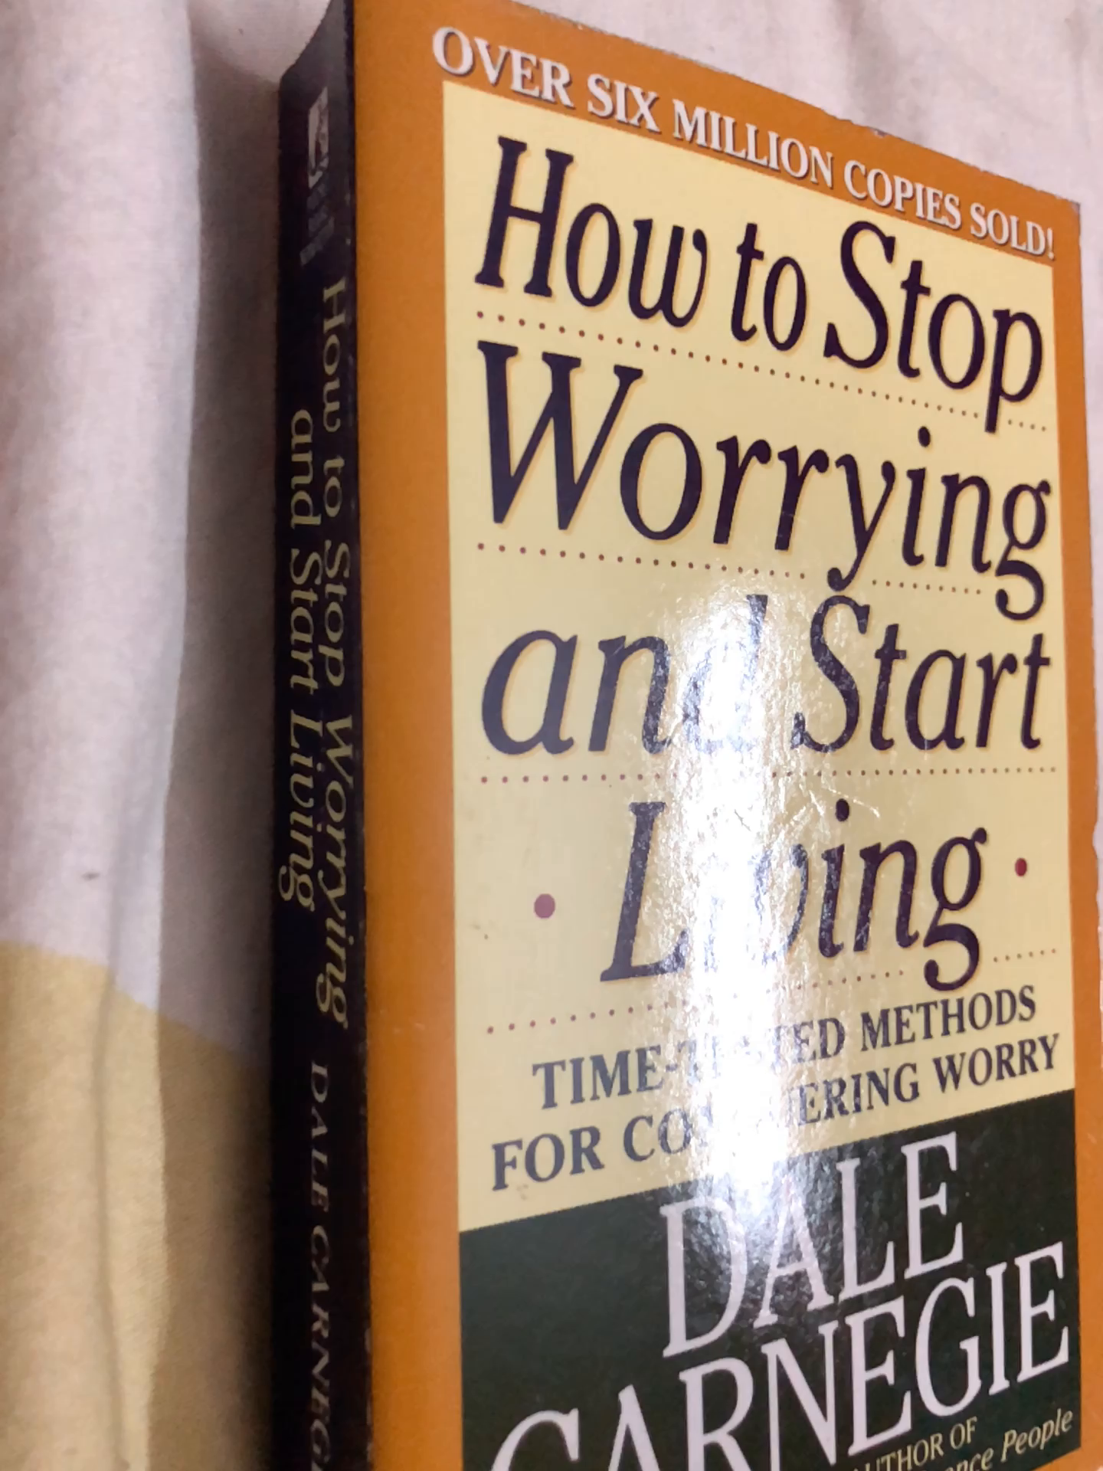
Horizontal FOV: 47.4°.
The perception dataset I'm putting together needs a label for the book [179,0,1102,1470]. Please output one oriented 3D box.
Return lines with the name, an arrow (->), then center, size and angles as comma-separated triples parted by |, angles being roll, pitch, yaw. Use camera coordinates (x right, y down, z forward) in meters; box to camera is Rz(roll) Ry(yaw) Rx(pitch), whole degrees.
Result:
book -> 0.018, 0.012, 0.155 | 0.110, 0.050, 0.170 | 0, 88, -36
